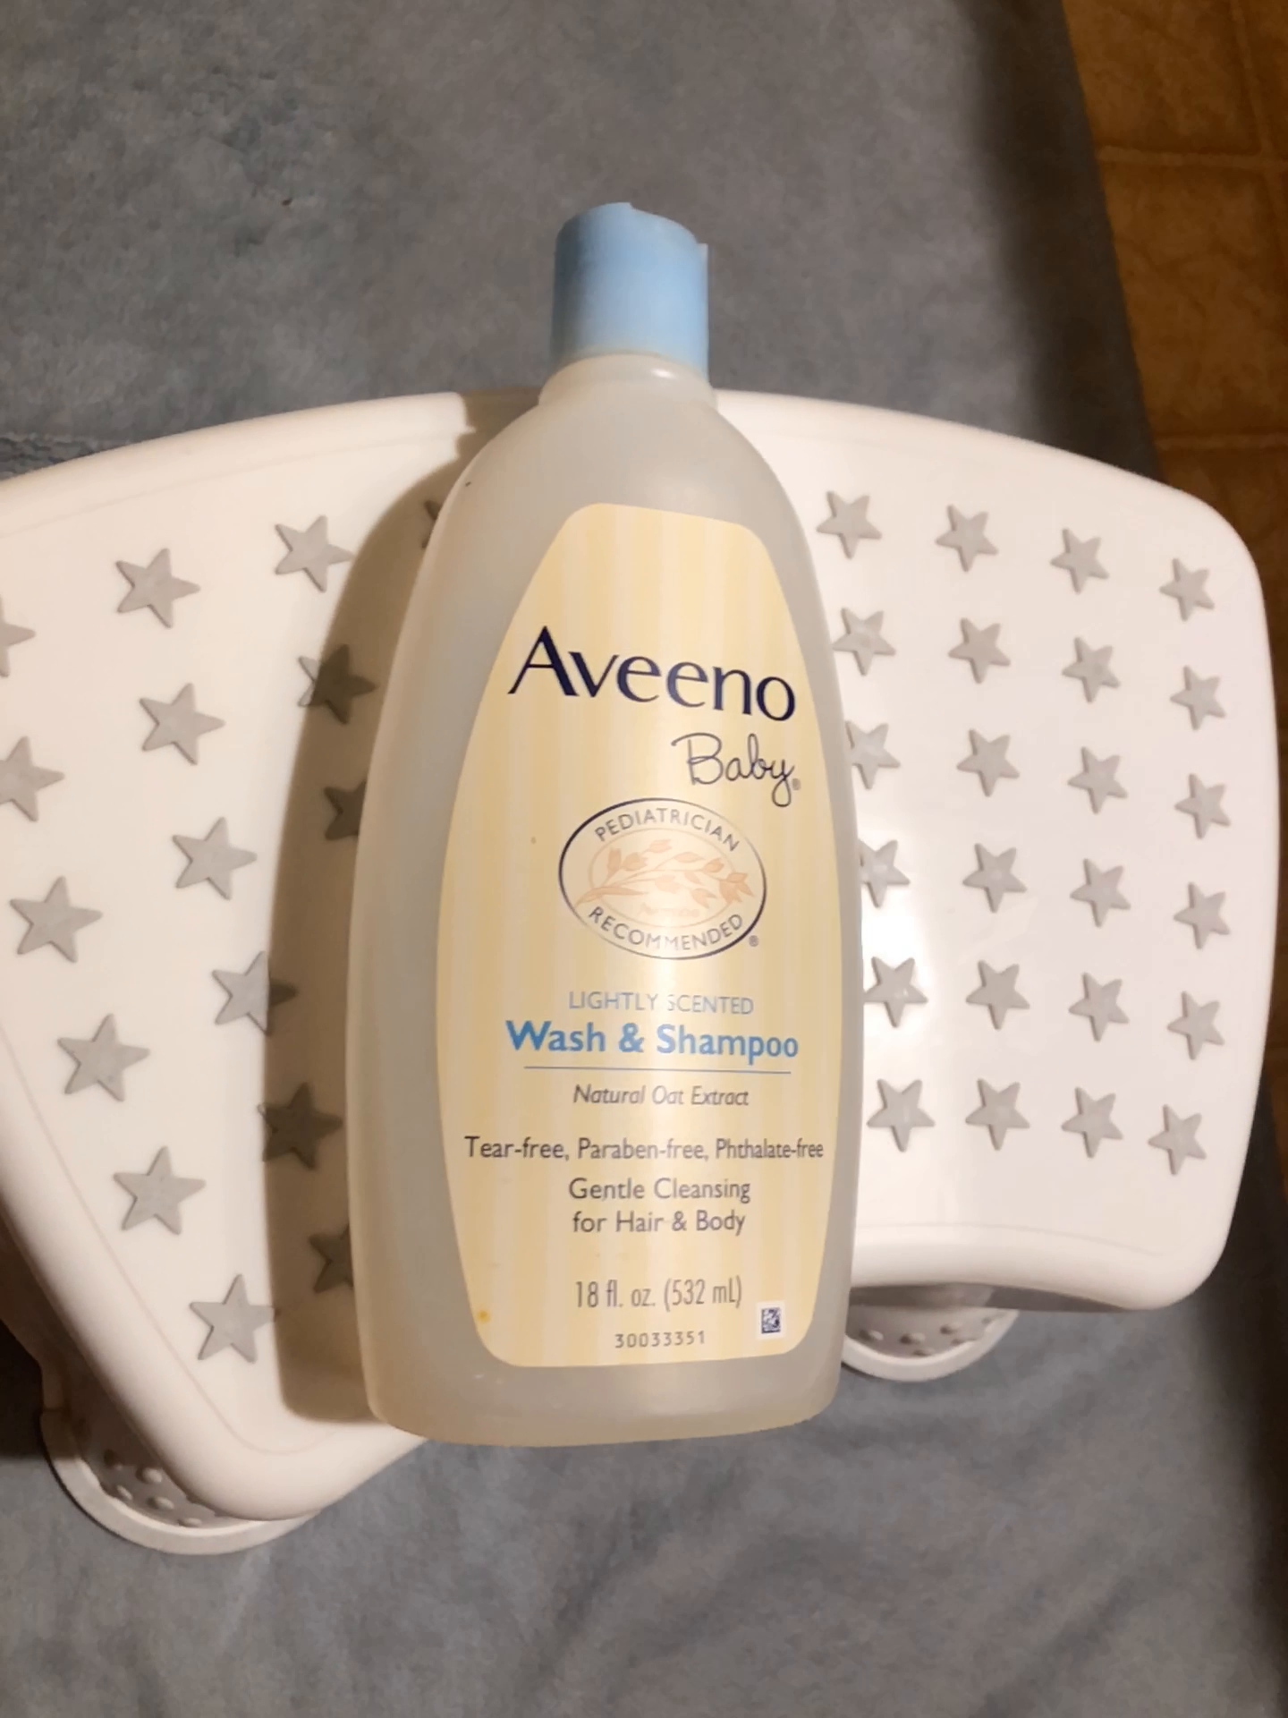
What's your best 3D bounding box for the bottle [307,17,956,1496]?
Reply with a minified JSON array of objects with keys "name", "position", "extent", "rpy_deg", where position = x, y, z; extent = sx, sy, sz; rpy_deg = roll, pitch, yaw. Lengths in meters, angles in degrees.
[{"name":"bottle","position":[-0.001,-0.020,0.260],"extent":[0.100,0.040,0.240],"rpy_deg":[5,79,-18]}]
